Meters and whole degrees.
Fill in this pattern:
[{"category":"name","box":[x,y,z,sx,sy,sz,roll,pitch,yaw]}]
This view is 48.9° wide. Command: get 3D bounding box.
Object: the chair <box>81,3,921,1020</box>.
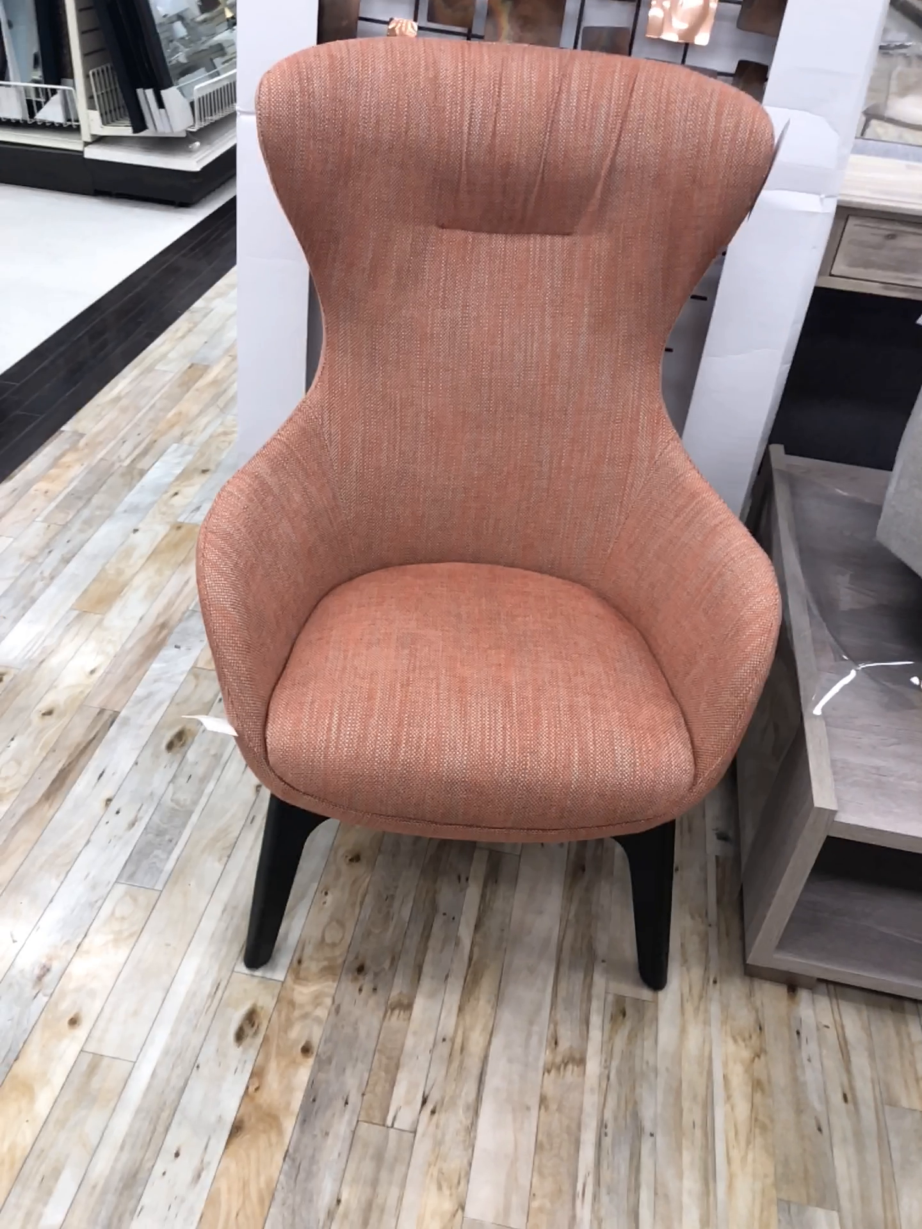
[{"category":"chair","box":[0.035,-0.121,1.349,0.690,1.065,0.753,4,37,-3]}]
